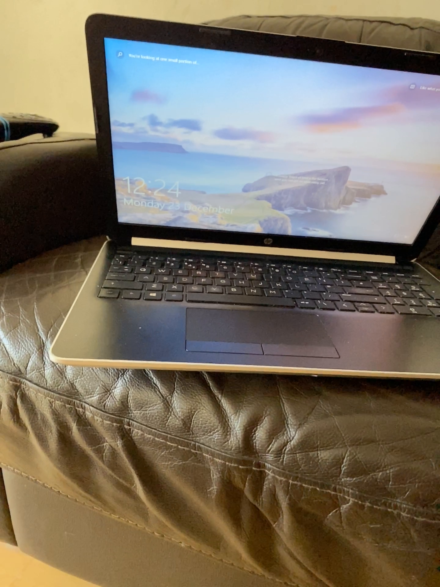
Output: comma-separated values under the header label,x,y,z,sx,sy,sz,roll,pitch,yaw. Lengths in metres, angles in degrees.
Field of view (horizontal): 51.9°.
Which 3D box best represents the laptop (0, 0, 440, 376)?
label,x,y,z,sx,sy,sz,roll,pitch,yaw
laptop,0.065,-0.097,0.391,0.371,0.212,0.238,3,24,-5
